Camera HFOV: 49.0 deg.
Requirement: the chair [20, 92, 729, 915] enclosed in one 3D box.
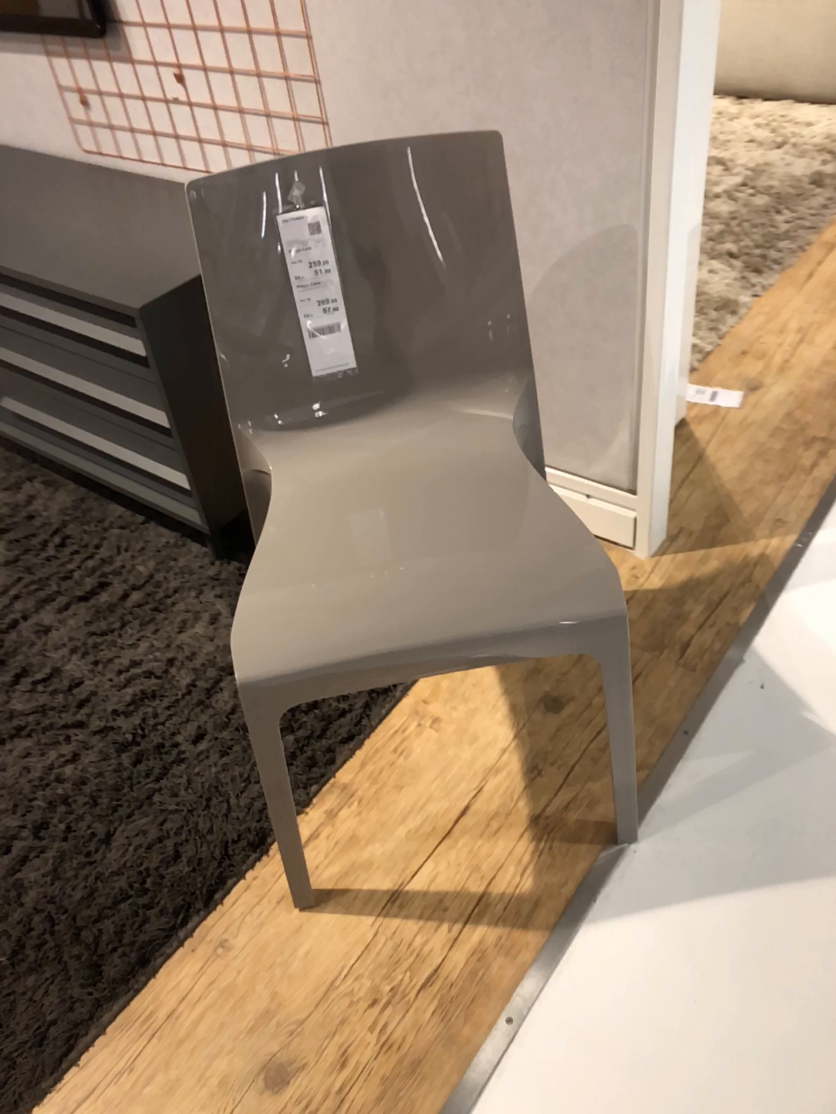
[{"bbox_3d":[-0.011,-0.044,1.127,0.520,0.754,0.564,-9,42,1],"label":"chair"}]
